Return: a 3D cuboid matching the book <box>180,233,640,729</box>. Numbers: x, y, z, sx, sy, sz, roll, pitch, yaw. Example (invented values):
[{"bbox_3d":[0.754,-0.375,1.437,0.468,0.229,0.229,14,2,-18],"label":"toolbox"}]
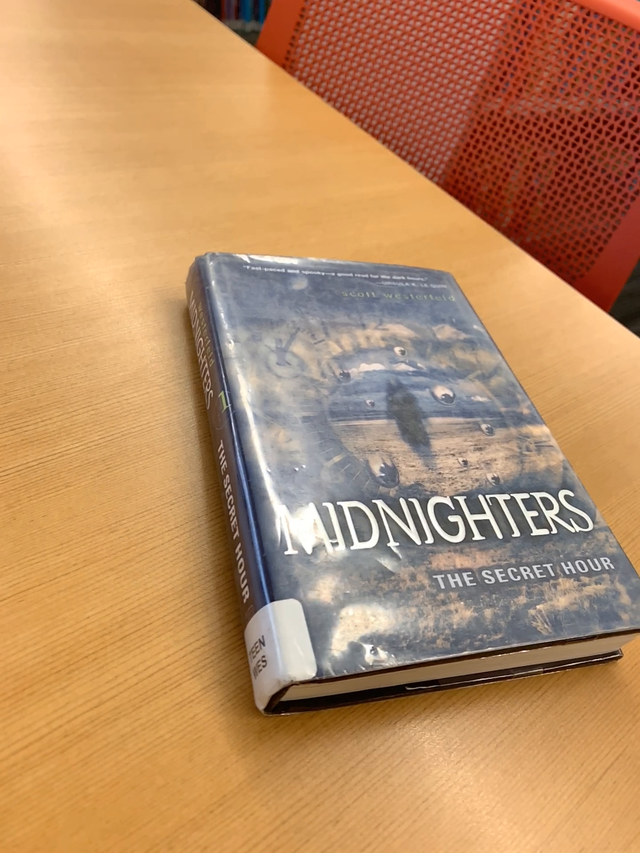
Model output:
[{"bbox_3d":[0.027,0.000,0.291,0.151,0.036,0.221,0,49,-20],"label":"book"}]
